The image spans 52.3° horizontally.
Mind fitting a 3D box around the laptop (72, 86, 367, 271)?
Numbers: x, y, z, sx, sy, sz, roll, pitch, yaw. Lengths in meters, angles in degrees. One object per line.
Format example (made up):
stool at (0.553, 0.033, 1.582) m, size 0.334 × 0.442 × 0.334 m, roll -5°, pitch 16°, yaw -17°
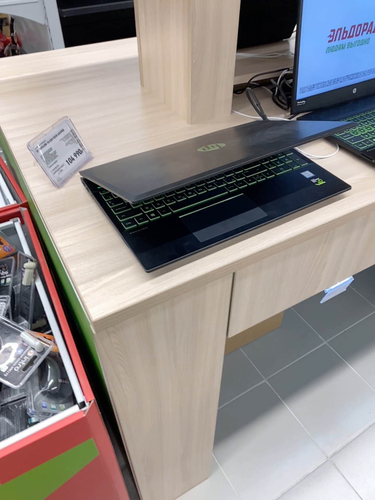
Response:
laptop at (0.046, -0.140, 0.598) m, size 0.366 × 0.086 × 0.241 m, roll -21°, pitch 48°, yaw -22°
